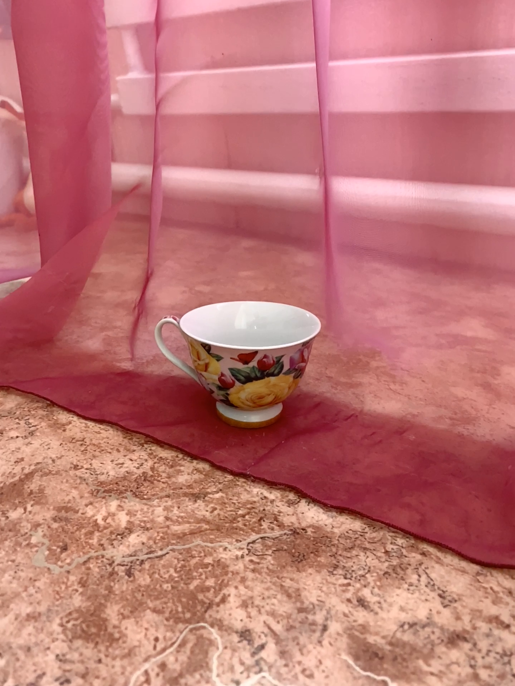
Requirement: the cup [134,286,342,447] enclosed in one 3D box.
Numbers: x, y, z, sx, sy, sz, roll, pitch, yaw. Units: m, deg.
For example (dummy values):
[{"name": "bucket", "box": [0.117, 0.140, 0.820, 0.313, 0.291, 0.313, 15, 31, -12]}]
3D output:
[{"name": "cup", "box": [-0.011, 0.009, 0.350, 0.109, 0.061, 0.078, 11, 23, 23]}]
